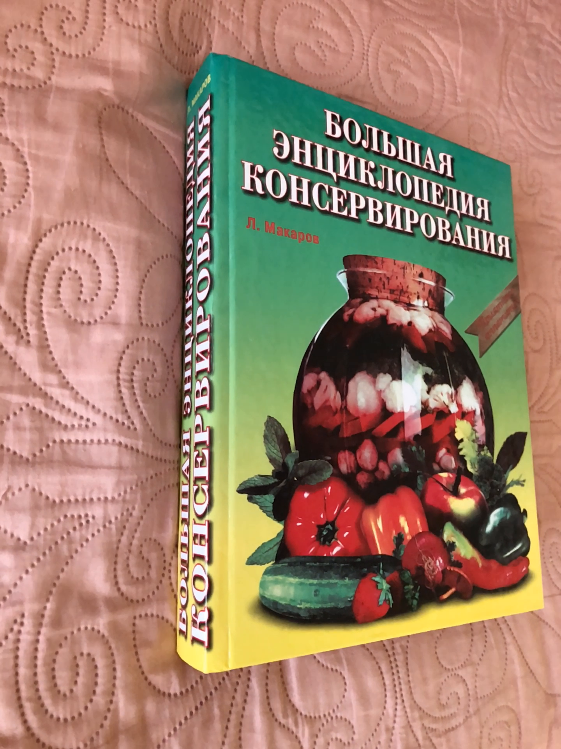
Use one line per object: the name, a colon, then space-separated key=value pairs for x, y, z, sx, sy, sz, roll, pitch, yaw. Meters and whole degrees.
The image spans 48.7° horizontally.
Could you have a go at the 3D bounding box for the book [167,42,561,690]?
book: x=0.051 y=-0.004 z=0.335 sx=0.217 sy=0.050 sz=0.272 roll=6 pitch=77 yaw=-33
